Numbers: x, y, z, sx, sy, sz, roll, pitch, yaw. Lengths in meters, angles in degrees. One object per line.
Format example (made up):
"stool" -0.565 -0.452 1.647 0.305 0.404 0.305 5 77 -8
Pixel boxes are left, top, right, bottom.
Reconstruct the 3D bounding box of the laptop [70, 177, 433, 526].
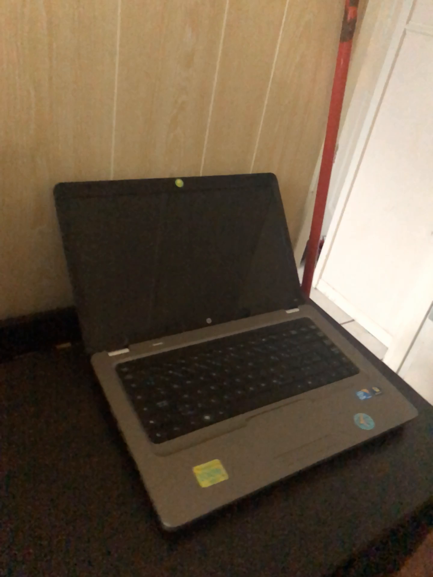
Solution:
"laptop" 0.036 0.020 0.640 0.356 0.166 0.403 -11 40 -29
